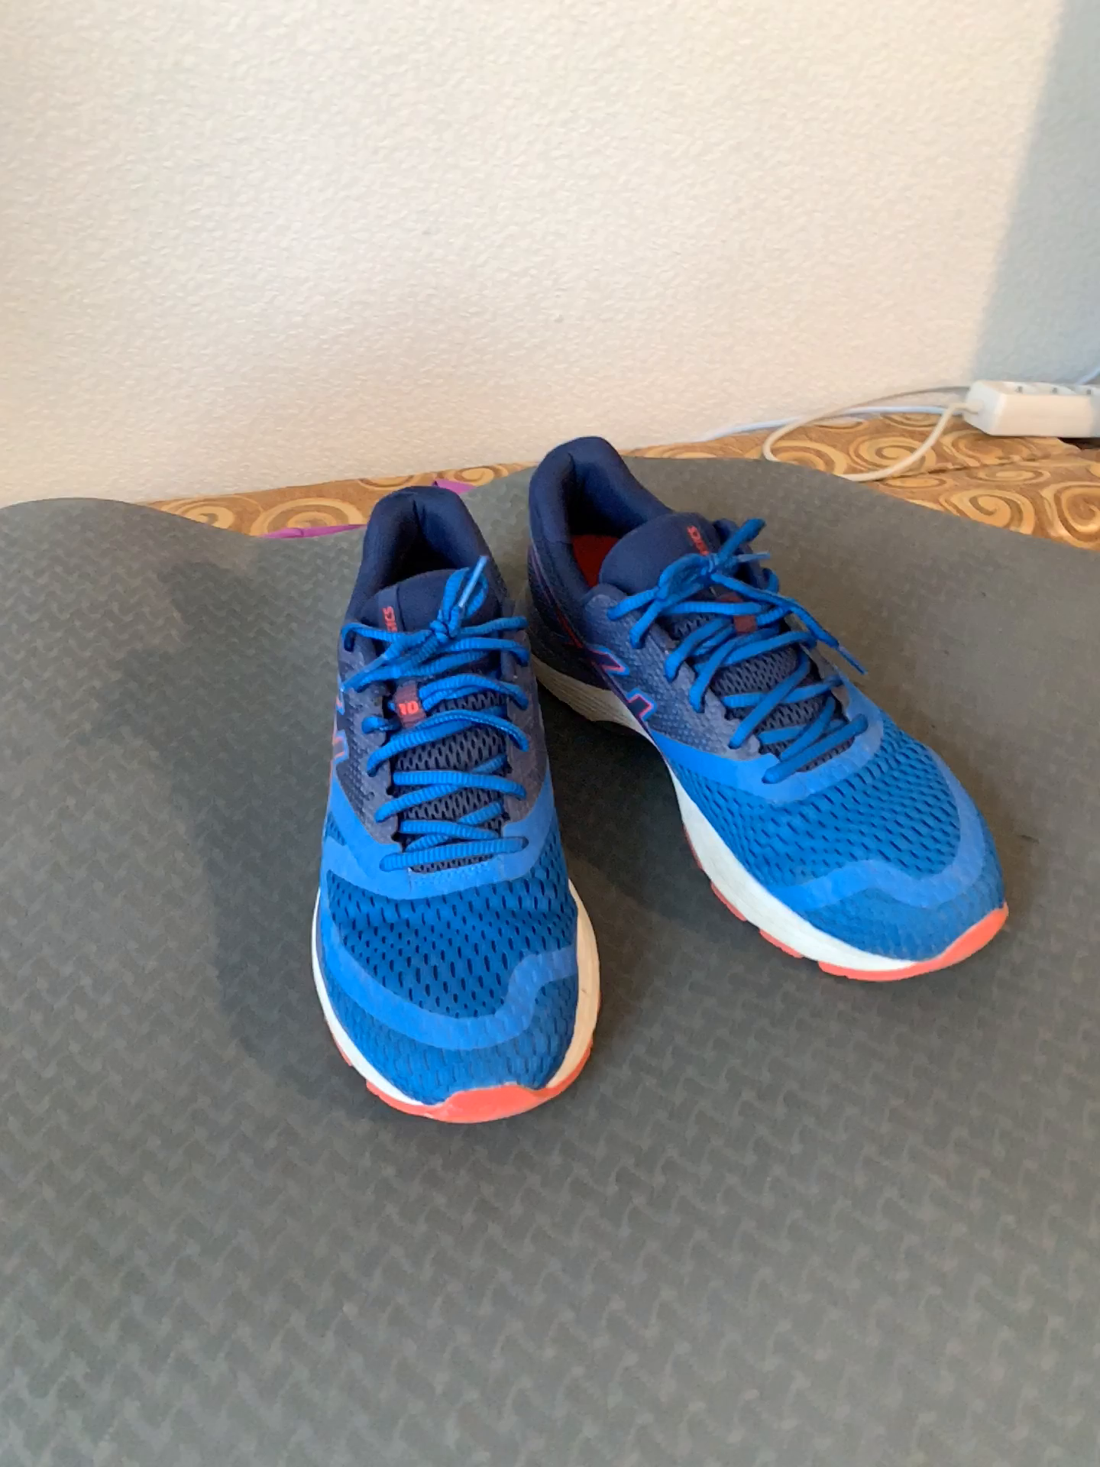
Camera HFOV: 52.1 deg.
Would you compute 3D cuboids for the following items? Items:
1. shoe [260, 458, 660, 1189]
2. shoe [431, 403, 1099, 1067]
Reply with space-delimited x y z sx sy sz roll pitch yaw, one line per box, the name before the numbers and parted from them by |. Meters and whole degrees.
shoe | -0.051 0.014 0.480 0.120 0.109 0.302 -8 44 -6
shoe | 0.075 -0.022 0.507 0.120 0.109 0.301 -24 48 -22
